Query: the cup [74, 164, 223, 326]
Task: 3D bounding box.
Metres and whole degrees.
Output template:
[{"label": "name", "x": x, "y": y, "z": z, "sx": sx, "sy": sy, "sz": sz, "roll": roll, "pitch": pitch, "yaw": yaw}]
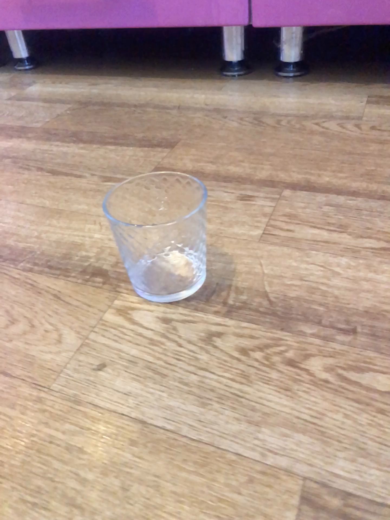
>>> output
[{"label": "cup", "x": -0.030, "y": -0.015, "z": 0.352, "sx": 0.080, "sy": 0.090, "sz": 0.080, "roll": -4, "pitch": 39, "yaw": 3}]
